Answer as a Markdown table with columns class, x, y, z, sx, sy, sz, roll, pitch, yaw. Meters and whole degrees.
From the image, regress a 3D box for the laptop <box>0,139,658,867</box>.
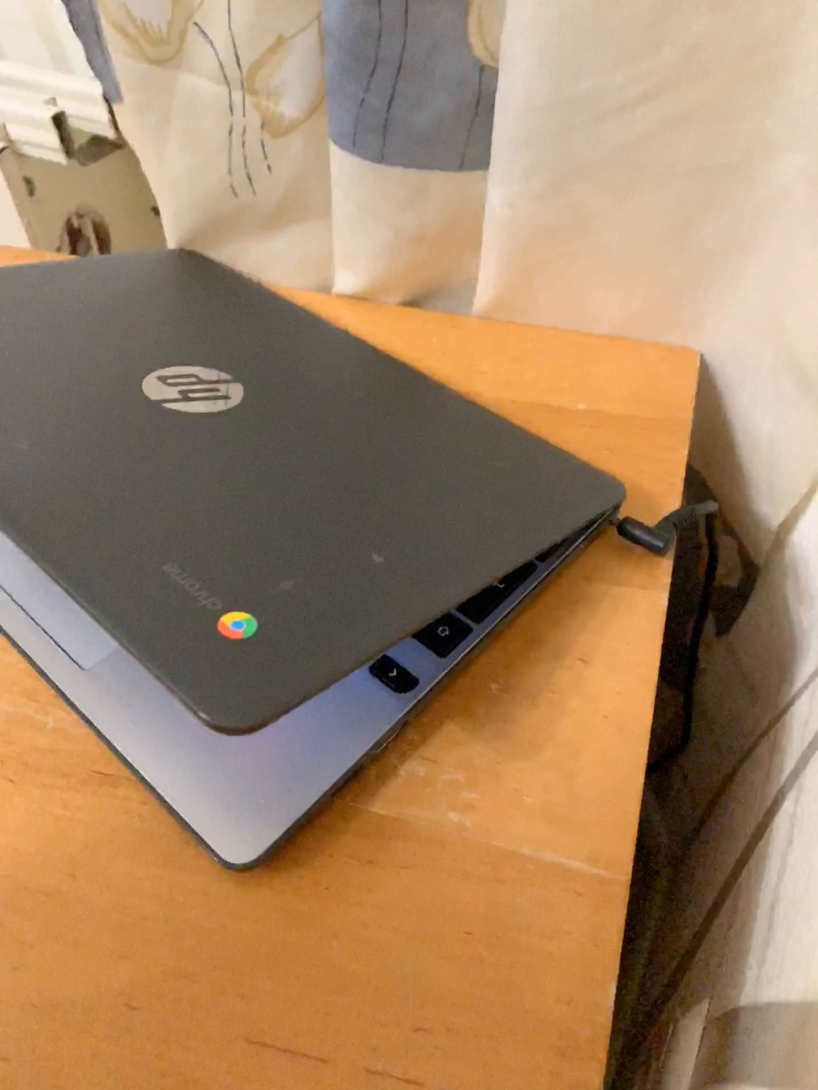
| class | x | y | z | sx | sy | sz | roll | pitch | yaw |
| --- | --- | --- | --- | --- | --- | --- | --- | --- | --- |
| laptop | -0.079 | -0.052 | 0.322 | 0.269 | 0.066 | 0.191 | 34 | 58 | 28 |
